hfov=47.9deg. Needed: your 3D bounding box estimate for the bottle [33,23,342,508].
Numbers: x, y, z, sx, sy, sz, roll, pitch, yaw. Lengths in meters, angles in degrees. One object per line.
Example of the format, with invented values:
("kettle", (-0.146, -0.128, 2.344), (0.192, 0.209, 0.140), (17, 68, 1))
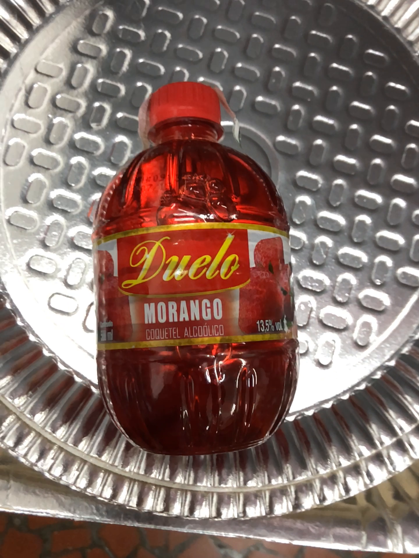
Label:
("bottle", (-0.010, -0.006, 0.183), (0.090, 0.070, 0.150), (-3, 85, -4))
